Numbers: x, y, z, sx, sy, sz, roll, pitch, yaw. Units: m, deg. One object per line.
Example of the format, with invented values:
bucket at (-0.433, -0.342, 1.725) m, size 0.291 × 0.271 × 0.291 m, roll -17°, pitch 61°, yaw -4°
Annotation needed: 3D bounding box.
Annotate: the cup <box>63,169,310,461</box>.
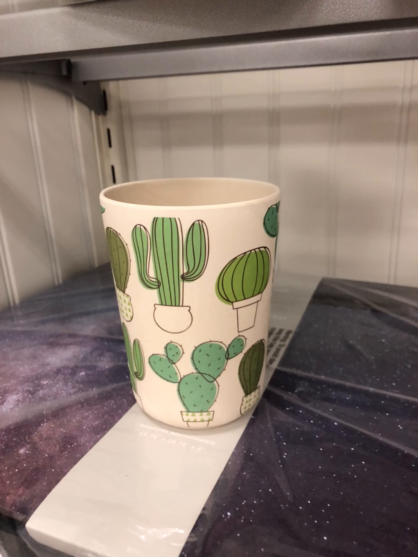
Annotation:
cup at (-0.008, 0.009, 0.276) m, size 0.100 × 0.129 × 0.090 m, roll 12°, pitch 24°, yaw 36°
